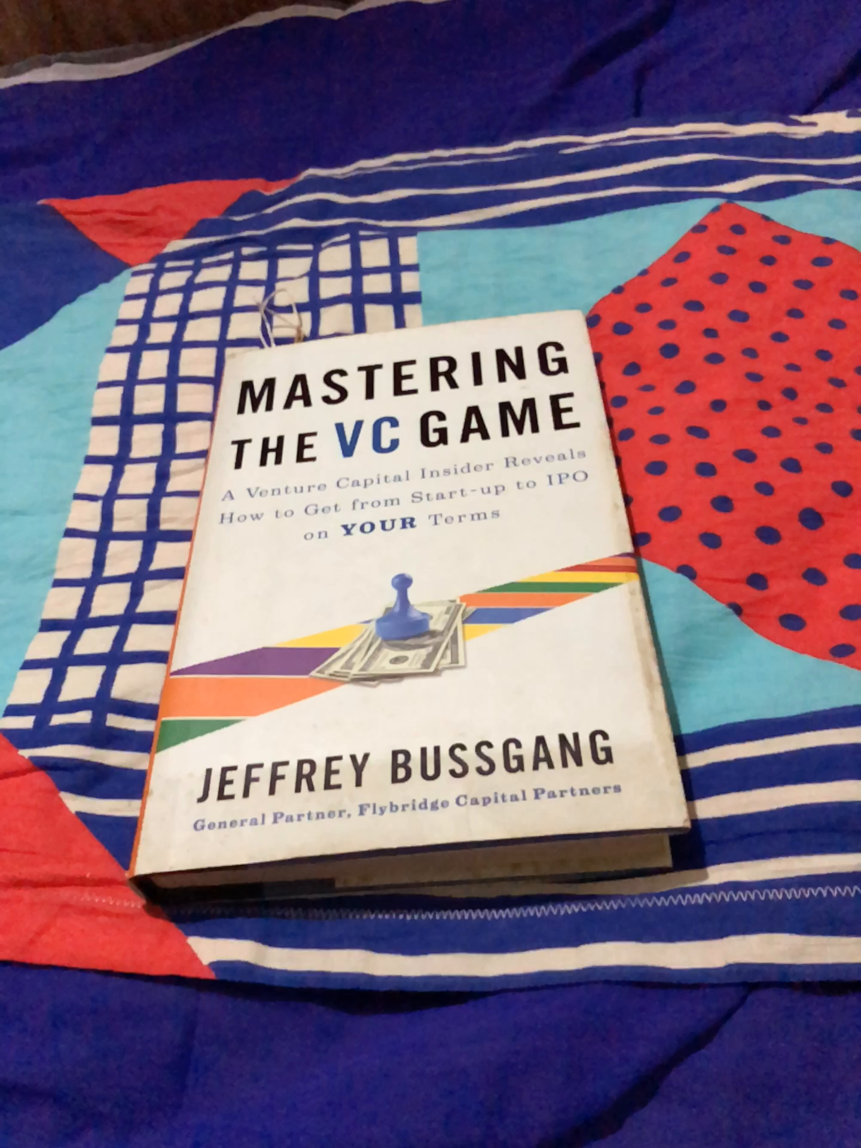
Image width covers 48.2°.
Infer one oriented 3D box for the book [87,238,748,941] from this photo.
[{"bbox_3d":[-0.006,-0.017,0.368,0.180,0.050,0.281,-6,50,6],"label":"book"}]
